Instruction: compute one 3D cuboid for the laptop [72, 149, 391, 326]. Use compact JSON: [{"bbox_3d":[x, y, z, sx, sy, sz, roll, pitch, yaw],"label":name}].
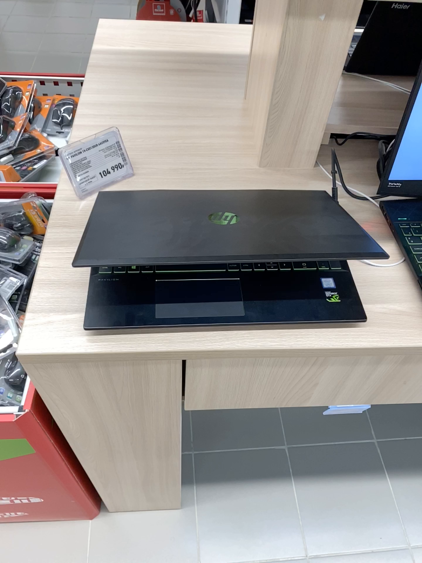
[{"bbox_3d":[0.018,-0.069,0.594,0.365,0.086,0.241,-1,52,-5],"label":"laptop"}]
